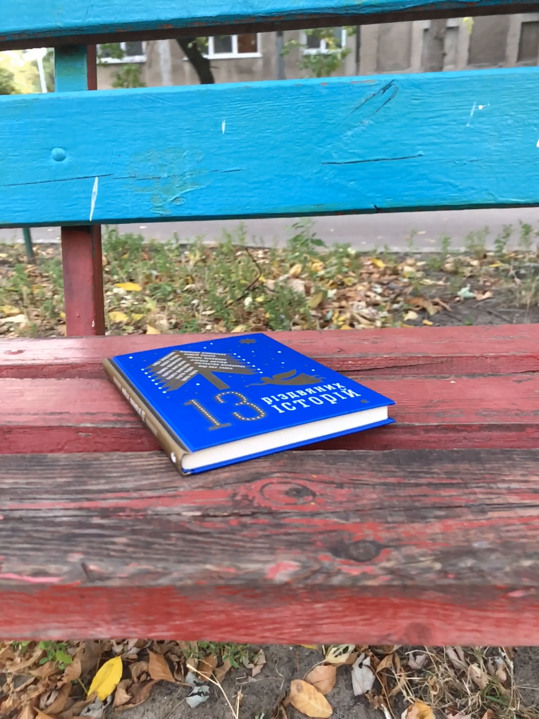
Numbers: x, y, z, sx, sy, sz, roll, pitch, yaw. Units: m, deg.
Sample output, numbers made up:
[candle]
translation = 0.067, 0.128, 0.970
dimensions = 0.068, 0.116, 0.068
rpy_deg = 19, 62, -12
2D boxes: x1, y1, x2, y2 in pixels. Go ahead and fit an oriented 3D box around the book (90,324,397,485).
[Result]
[book]
translation = -0.034, 0.018, 0.444
dimensions = 0.155, 0.020, 0.213
rpy_deg = -11, 20, -25
